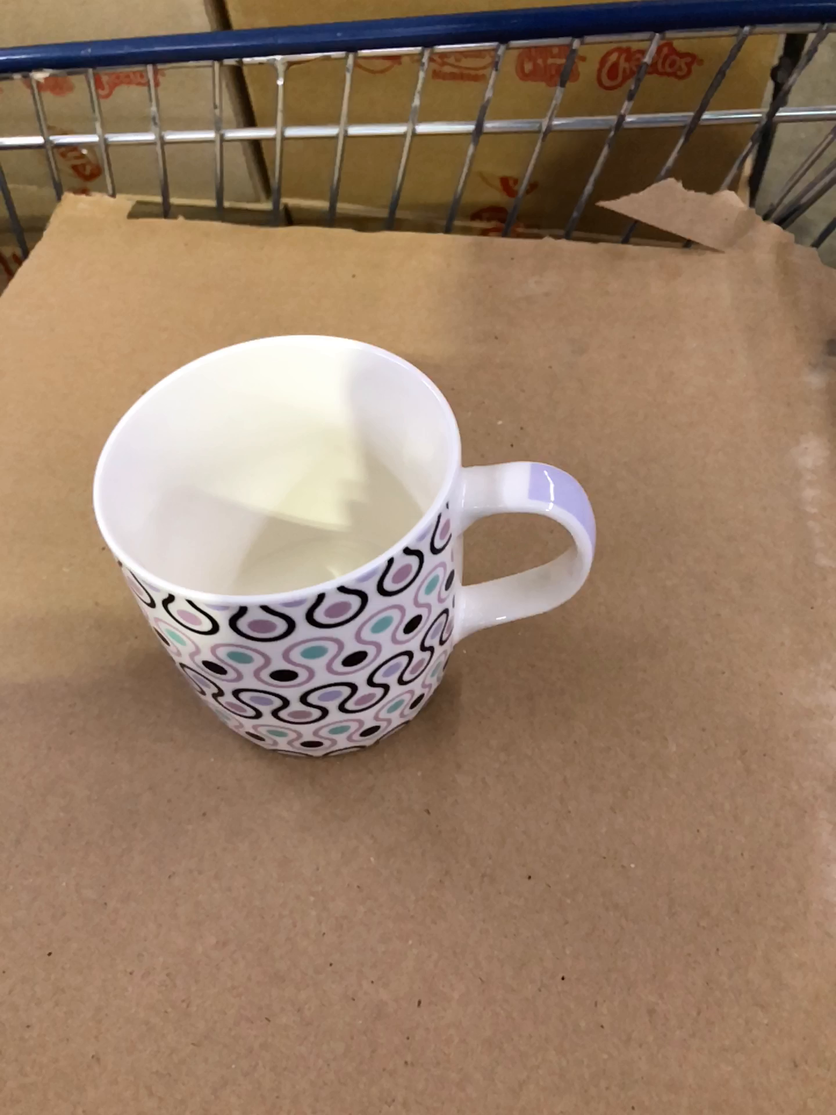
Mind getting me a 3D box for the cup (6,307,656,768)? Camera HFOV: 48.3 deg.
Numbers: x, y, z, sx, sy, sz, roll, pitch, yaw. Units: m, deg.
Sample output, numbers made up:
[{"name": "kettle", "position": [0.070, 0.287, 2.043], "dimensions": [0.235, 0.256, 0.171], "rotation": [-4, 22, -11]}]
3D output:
[{"name": "cup", "position": [-0.015, -0.004, 0.261], "dimensions": [0.140, 0.090, 0.090], "rotation": [1, 53, 5]}]
